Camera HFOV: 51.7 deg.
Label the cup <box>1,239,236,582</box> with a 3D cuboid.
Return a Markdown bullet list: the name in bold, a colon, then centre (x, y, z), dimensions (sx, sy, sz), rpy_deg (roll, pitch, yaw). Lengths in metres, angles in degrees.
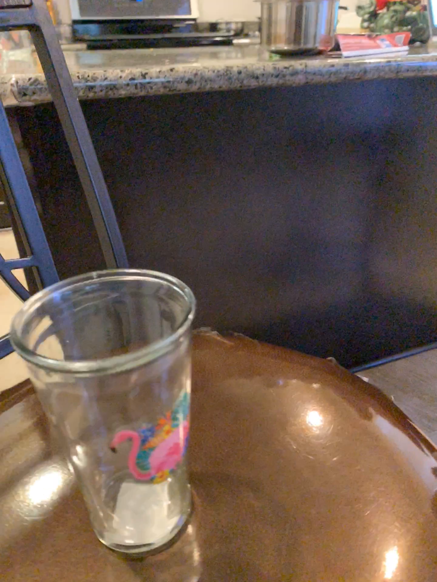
- **cup**: centre (-0.047, 0.062, 0.254), dimensions (0.080, 0.149, 0.080), rpy_deg (-1, 29, 1)
